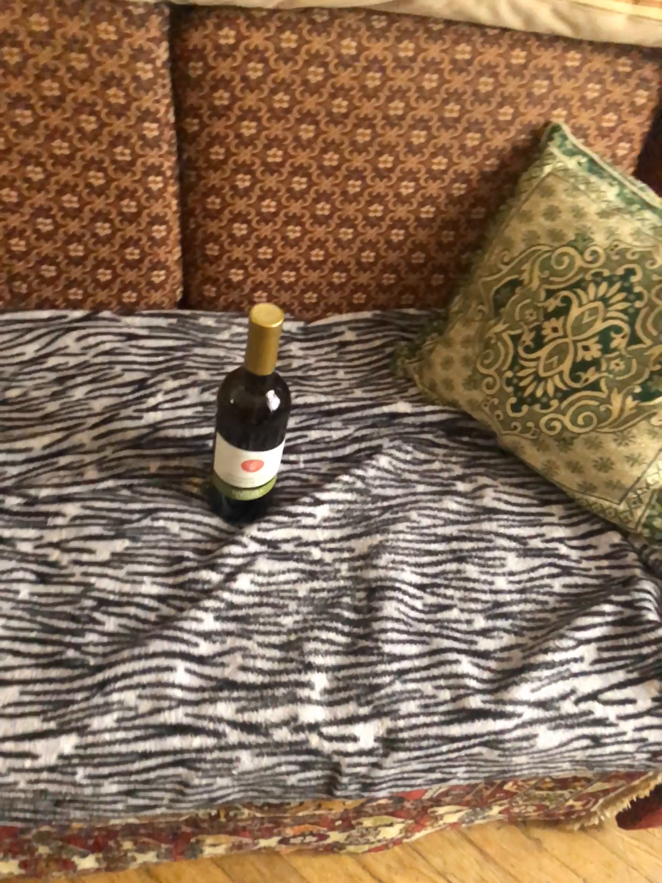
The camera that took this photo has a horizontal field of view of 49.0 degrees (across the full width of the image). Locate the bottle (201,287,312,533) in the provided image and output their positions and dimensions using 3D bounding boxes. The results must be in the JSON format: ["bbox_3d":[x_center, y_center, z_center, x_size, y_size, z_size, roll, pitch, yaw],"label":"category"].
[{"bbox_3d":[-0.082,-0.019,0.712,0.080,0.268,0.080,5,50,-7],"label":"bottle"}]
